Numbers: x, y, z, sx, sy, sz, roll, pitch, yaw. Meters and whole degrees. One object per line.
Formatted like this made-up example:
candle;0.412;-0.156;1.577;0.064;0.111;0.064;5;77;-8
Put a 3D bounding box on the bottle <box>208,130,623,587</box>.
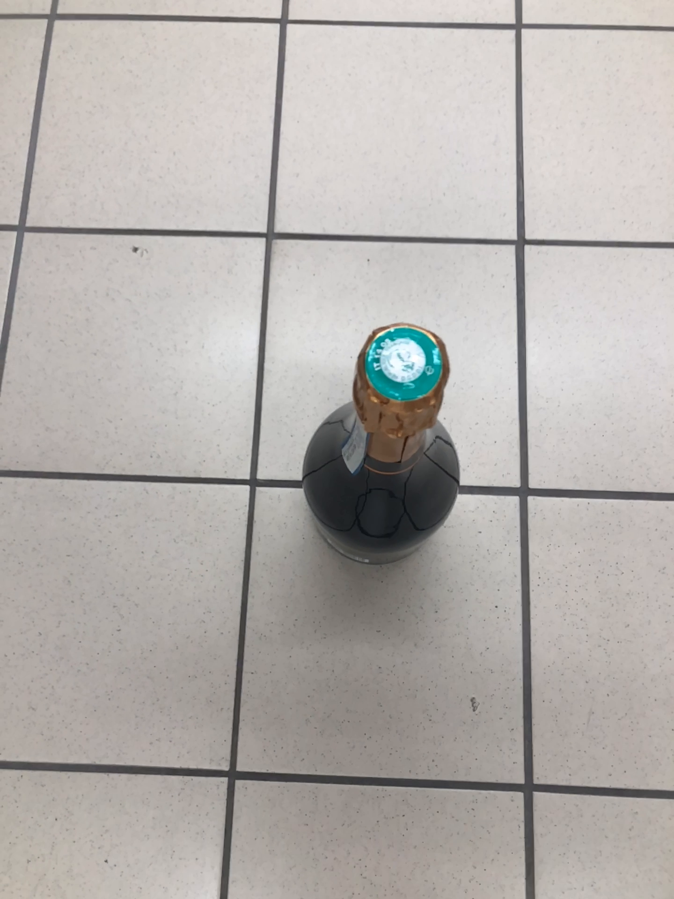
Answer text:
bottle;0.026;-0.005;0.387;0.090;0.320;0.100;-30;78;-6
